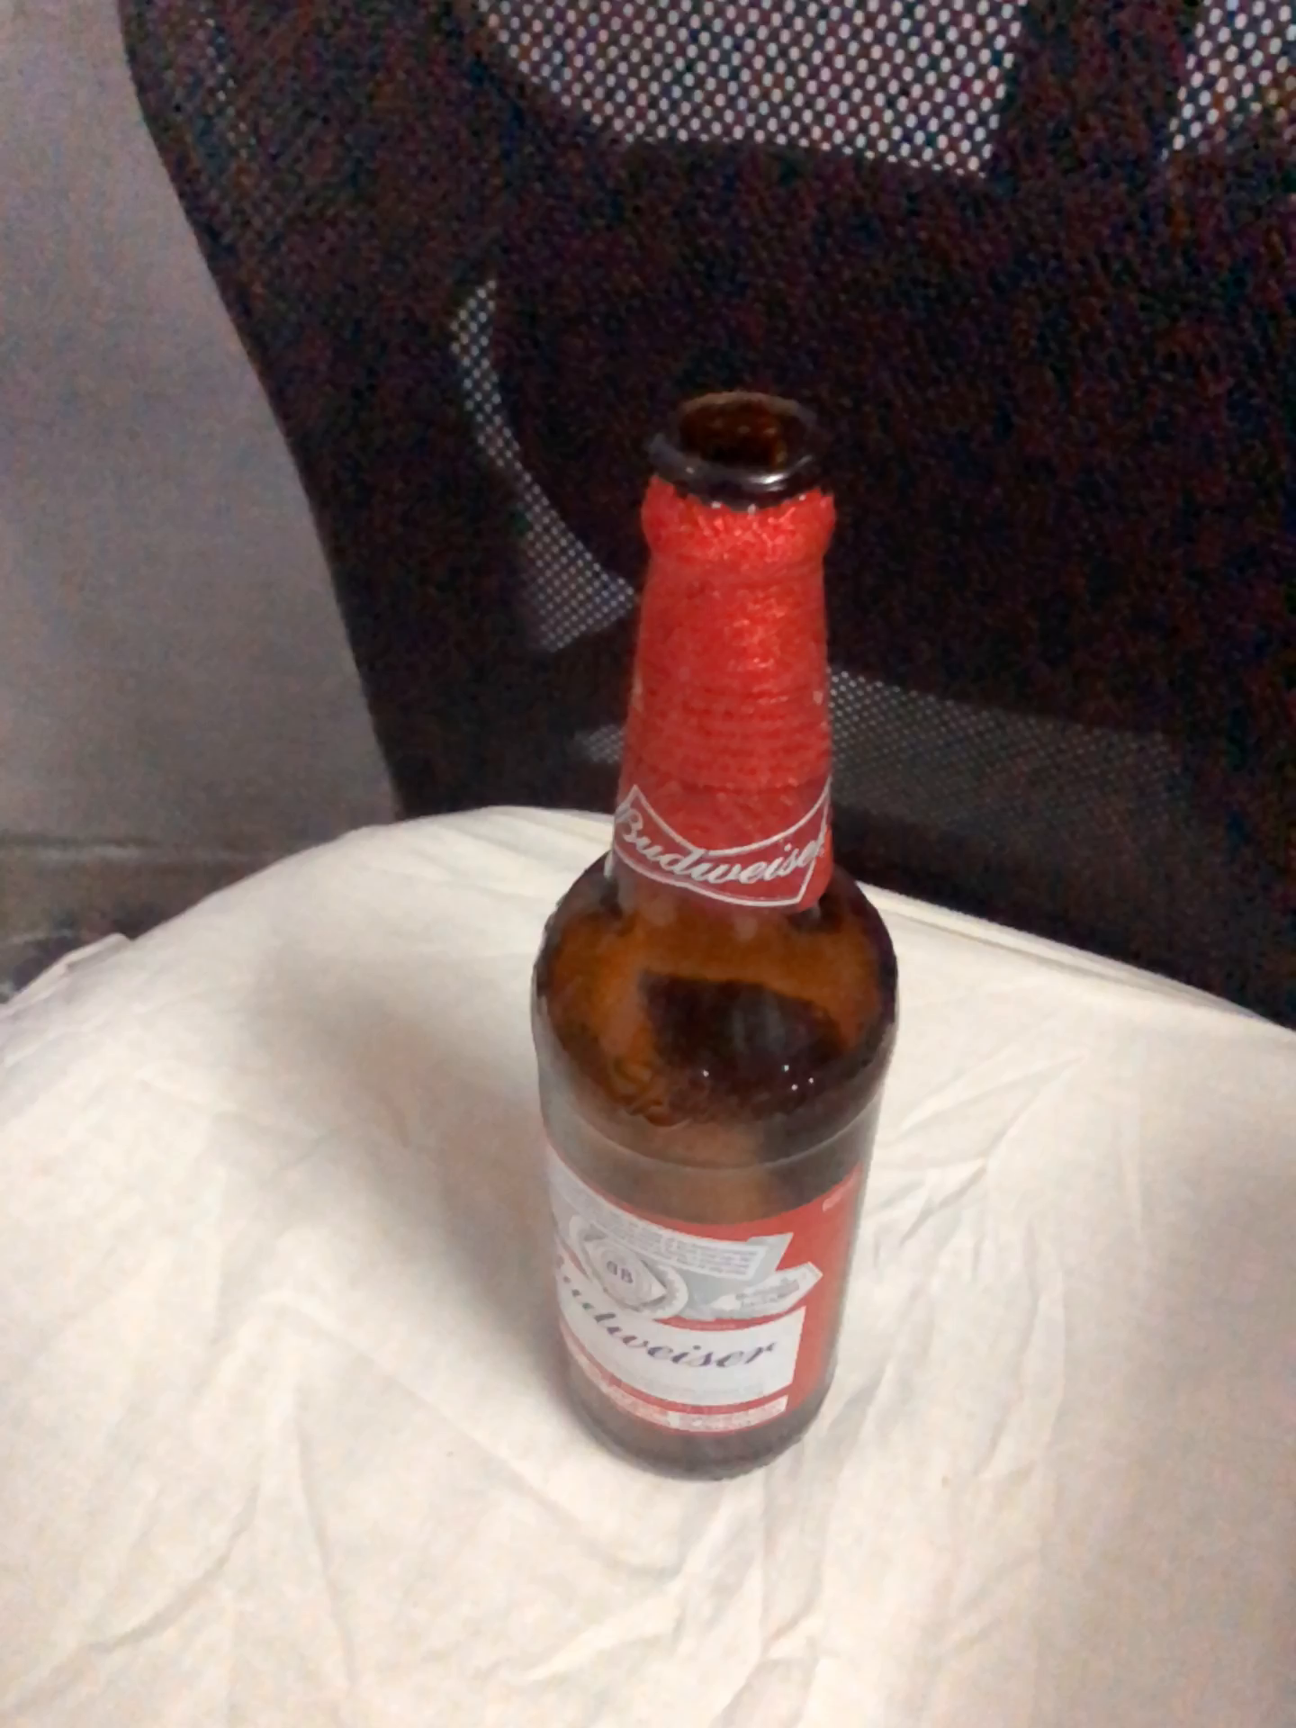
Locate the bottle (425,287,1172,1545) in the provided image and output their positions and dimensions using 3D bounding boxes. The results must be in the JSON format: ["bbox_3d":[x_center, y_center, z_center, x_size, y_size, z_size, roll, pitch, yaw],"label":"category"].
[{"bbox_3d":[0.020,0.040,0.295,0.080,0.279,0.070,21,50,17],"label":"bottle"}]
